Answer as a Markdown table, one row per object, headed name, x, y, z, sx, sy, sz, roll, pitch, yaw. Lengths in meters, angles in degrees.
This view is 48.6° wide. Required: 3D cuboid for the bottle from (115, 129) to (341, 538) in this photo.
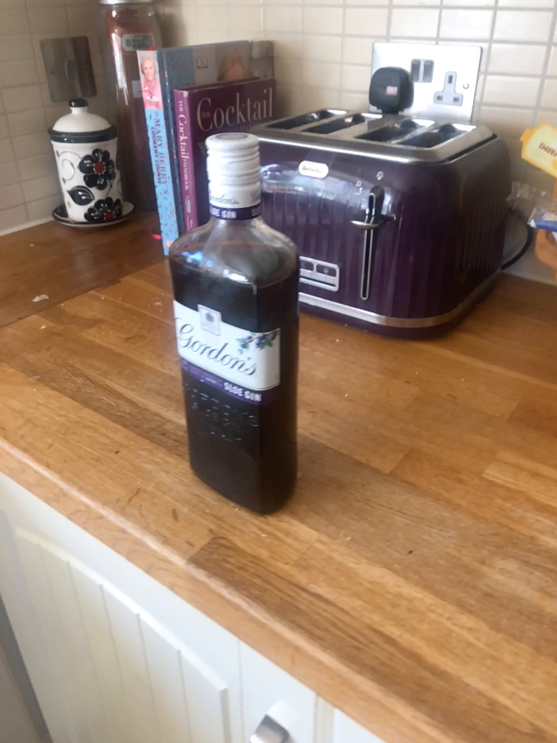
| name | x | y | z | sx | sy | sz | roll | pitch | yaw |
| --- | --- | --- | --- | --- | --- | --- | --- | --- | --- |
| bottle | -0.028 | -0.023 | 0.409 | 0.100 | 0.238 | 0.080 | 25 | 39 | 36 |
